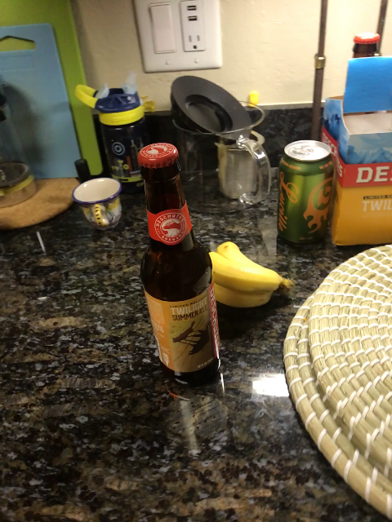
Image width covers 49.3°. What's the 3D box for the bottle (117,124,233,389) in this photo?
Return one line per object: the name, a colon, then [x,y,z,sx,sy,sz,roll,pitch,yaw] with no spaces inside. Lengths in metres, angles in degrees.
bottle: [-0.009,0.008,0.324,0.060,0.199,0.060,-4,38,3]
